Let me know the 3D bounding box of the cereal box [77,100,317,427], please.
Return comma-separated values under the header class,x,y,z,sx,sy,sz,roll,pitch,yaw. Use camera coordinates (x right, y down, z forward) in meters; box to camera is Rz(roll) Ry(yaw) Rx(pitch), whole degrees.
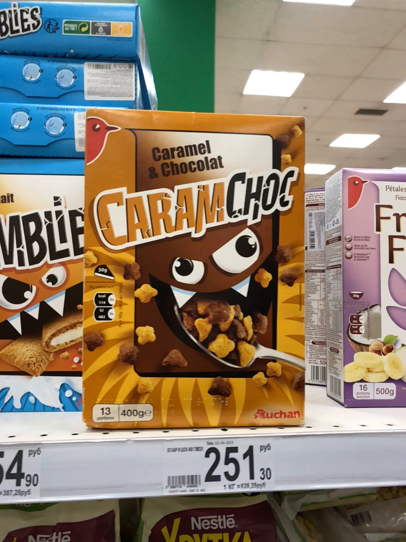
class,x,y,z,sx,sy,sz,roll,pitch,yaw
cereal box,-0.005,-0.006,0.409,0.200,0.270,0.060,1,-1,-5
